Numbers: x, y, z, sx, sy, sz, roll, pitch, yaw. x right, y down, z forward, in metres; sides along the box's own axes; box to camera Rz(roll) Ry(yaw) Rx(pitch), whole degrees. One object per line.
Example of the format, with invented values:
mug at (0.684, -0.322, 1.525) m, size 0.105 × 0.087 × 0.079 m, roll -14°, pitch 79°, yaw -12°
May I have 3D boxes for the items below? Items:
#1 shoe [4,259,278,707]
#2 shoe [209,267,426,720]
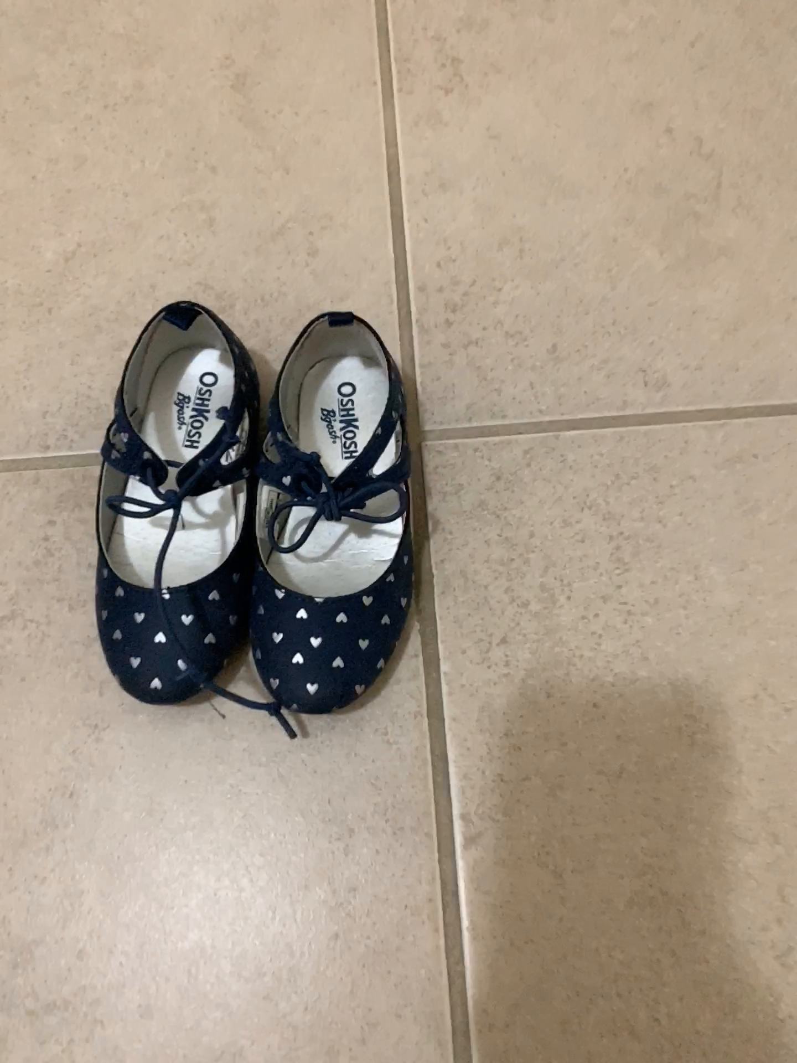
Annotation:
shoe at (-0.095, -0.020, 0.335) m, size 0.070 × 0.062 × 0.171 m, roll 1°, pitch 70°, yaw 2°
shoe at (-0.025, -0.016, 0.331) m, size 0.070 × 0.062 × 0.171 m, roll 1°, pitch 70°, yaw 2°
